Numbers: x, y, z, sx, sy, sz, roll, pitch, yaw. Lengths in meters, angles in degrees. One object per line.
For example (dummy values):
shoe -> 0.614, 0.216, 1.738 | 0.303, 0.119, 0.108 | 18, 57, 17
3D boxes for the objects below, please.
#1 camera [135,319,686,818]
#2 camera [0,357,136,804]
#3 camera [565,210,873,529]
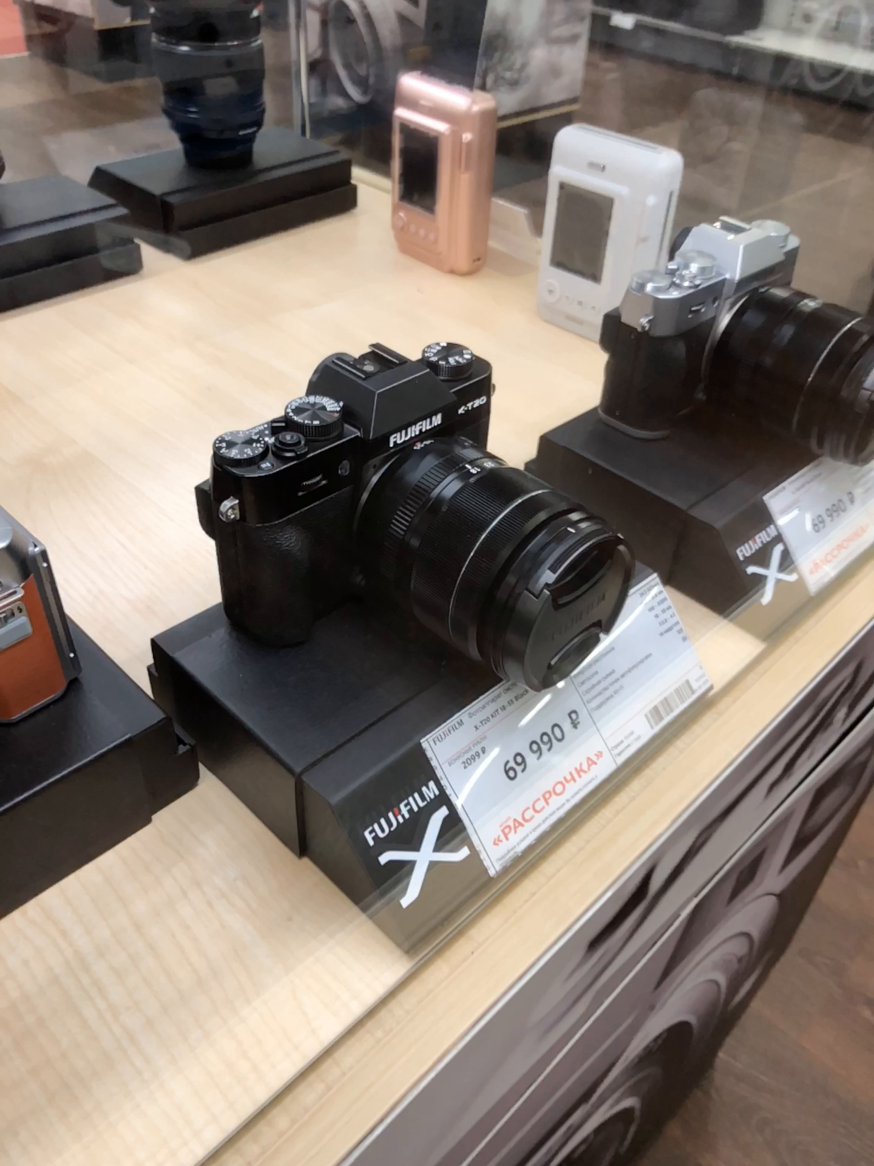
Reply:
camera -> -0.011, -0.017, 0.337 | 0.122, 0.080, 0.130 | -29, 49, -34
camera -> -0.164, -0.008, 0.299 | 0.122, 0.063, 0.075 | 33, 48, 31
camera -> 0.153, -0.107, 0.451 | 0.124, 0.072, 0.130 | 33, 48, 31
